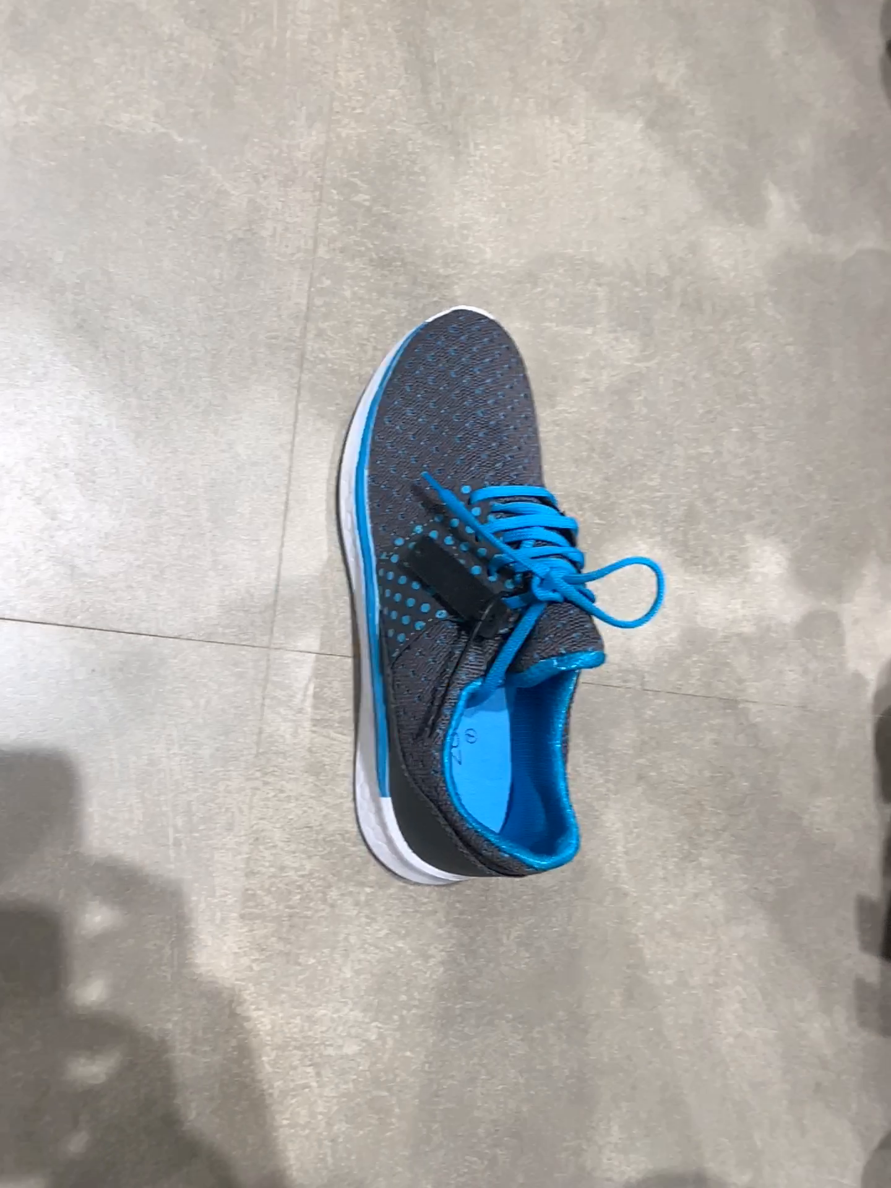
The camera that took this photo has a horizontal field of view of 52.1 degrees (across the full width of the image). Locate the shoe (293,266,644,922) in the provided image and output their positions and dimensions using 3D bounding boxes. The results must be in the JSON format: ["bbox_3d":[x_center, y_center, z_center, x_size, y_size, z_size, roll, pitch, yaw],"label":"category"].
[{"bbox_3d":[0.004,0.001,0.383,0.103,0.102,0.227,0,85,-26],"label":"shoe"}]
